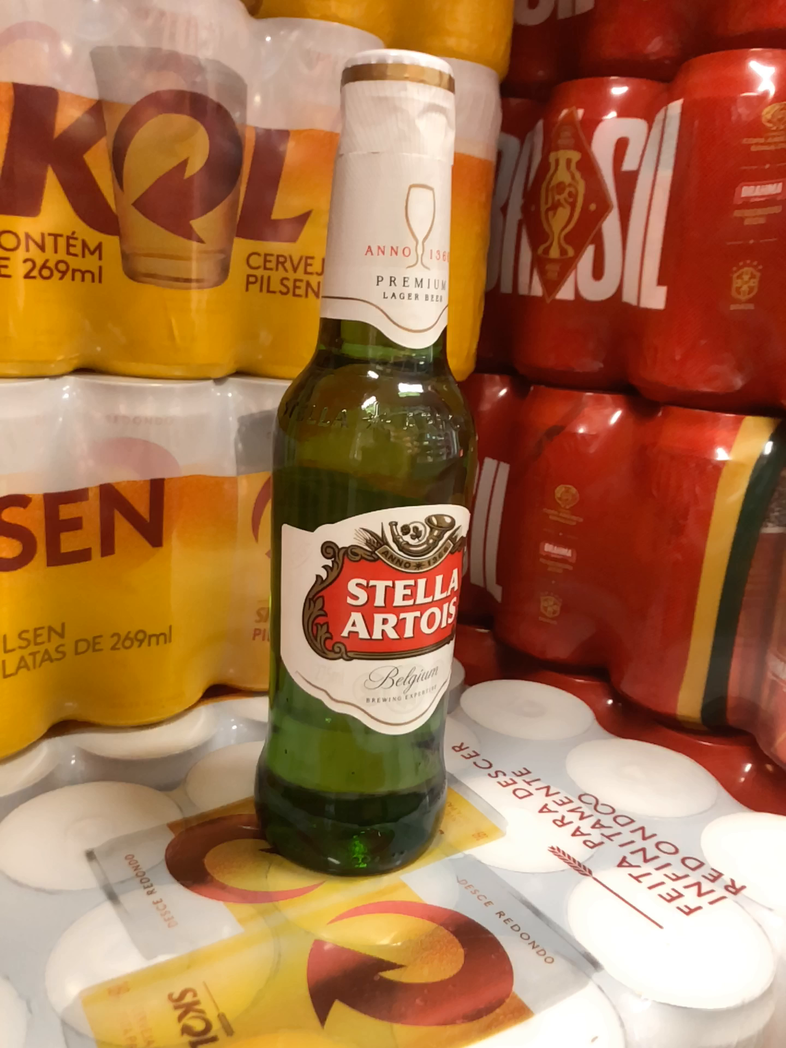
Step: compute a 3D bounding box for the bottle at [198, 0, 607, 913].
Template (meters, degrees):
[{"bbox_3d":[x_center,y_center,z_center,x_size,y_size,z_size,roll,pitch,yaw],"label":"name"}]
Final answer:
[{"bbox_3d":[-0.005,-0.017,0.240,0.070,0.219,0.060,-6,19,-36],"label":"bottle"}]
